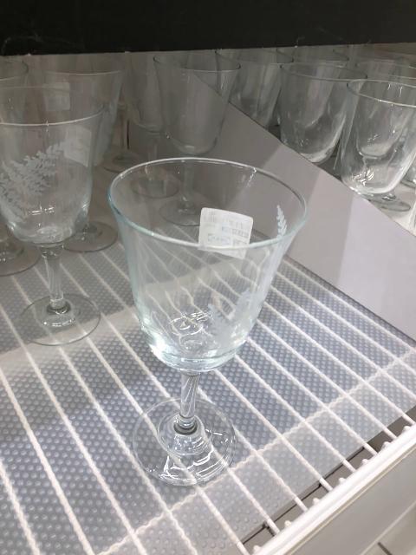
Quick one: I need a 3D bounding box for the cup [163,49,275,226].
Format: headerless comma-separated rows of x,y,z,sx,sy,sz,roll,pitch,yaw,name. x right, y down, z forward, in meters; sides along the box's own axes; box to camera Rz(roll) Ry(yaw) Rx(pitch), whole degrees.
0.002,-0.122,0.404,0.069,0.126,0.087,-3,34,-13,cup

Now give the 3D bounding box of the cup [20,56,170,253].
-0.095,-0.110,0.402,0.089,0.136,0.087,4,34,-2,cup

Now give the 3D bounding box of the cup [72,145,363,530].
-0.004,0.027,0.237,0.089,0.156,0.087,4,34,-2,cup

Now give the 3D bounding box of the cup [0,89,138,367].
-0.109,-0.037,0.322,0.087,0.155,0.089,4,34,-2,cup

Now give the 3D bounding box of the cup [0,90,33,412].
-0.170,-0.018,0.267,0.087,0.146,0.079,4,34,-2,cup
